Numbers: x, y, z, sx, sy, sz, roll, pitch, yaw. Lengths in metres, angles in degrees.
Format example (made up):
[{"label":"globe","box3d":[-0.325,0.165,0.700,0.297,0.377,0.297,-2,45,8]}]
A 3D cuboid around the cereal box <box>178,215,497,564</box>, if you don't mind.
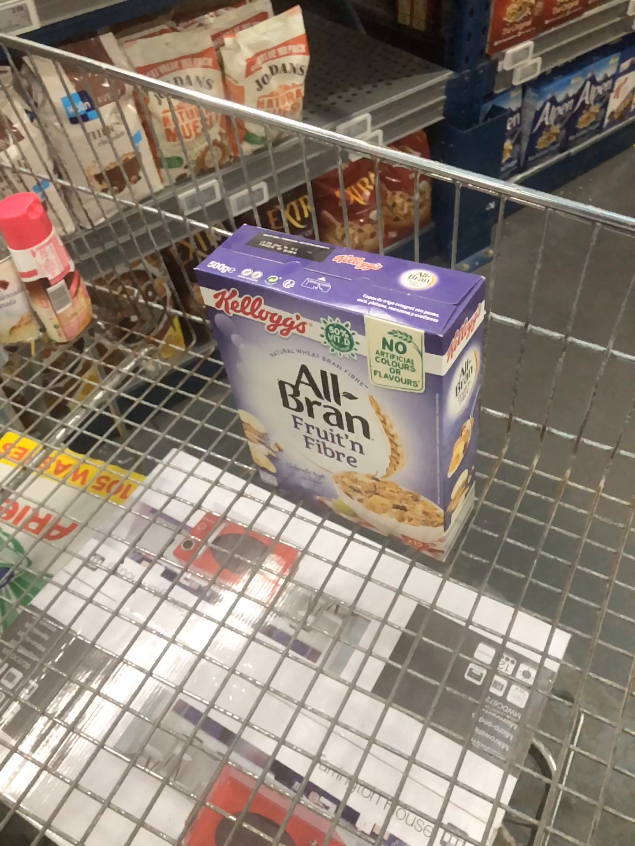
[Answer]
[{"label":"cereal box","box3d":[0.023,-0.023,0.548,0.200,0.229,0.080,19,52,27]}]
